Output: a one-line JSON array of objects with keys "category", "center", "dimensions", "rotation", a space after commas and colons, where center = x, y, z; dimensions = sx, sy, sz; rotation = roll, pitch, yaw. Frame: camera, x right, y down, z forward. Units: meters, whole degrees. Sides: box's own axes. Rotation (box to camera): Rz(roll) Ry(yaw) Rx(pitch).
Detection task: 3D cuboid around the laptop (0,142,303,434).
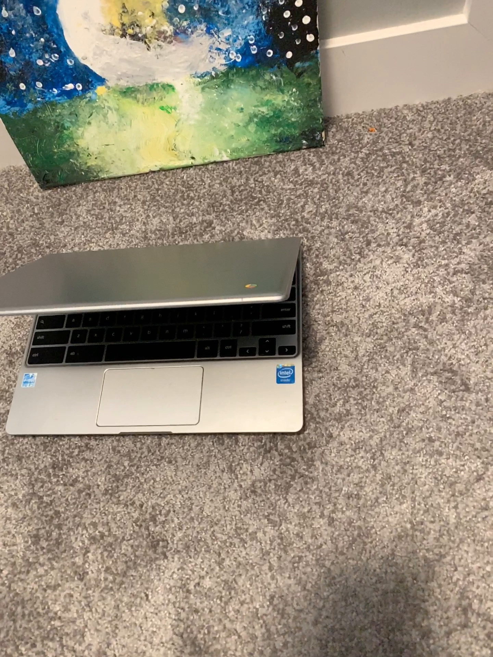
[{"category": "laptop", "center": [-0.104, -0.024, 0.454], "dimensions": [0.294, 0.144, 0.200], "rotation": [-3, 64, 10]}]
